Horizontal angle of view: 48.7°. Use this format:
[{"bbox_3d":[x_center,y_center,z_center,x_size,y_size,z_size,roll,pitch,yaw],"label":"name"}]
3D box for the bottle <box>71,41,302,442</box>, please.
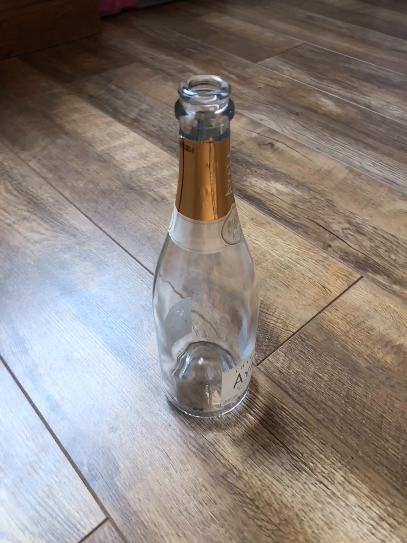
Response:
[{"bbox_3d":[-0.004,0.006,0.339,0.090,0.298,0.091,0,46,0],"label":"bottle"}]
